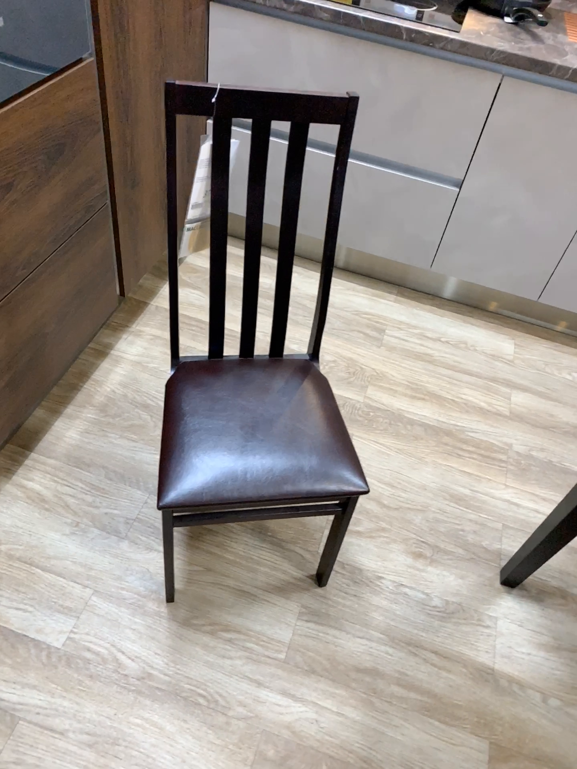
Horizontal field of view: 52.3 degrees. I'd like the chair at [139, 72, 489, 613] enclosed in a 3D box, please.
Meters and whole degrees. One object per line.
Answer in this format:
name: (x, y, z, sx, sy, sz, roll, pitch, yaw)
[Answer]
chair: (-0.067, -0.004, 1.239, 0.430, 1.014, 0.523, -2, 48, -12)
